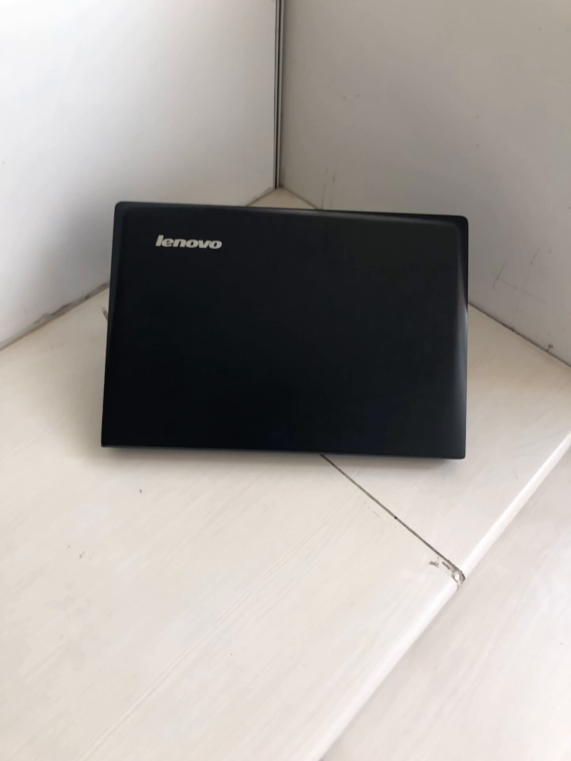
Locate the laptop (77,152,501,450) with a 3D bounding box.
[{"bbox_3d":[0.006,-0.087,0.686,0.374,0.162,0.254,2,55,-1],"label":"laptop"}]
